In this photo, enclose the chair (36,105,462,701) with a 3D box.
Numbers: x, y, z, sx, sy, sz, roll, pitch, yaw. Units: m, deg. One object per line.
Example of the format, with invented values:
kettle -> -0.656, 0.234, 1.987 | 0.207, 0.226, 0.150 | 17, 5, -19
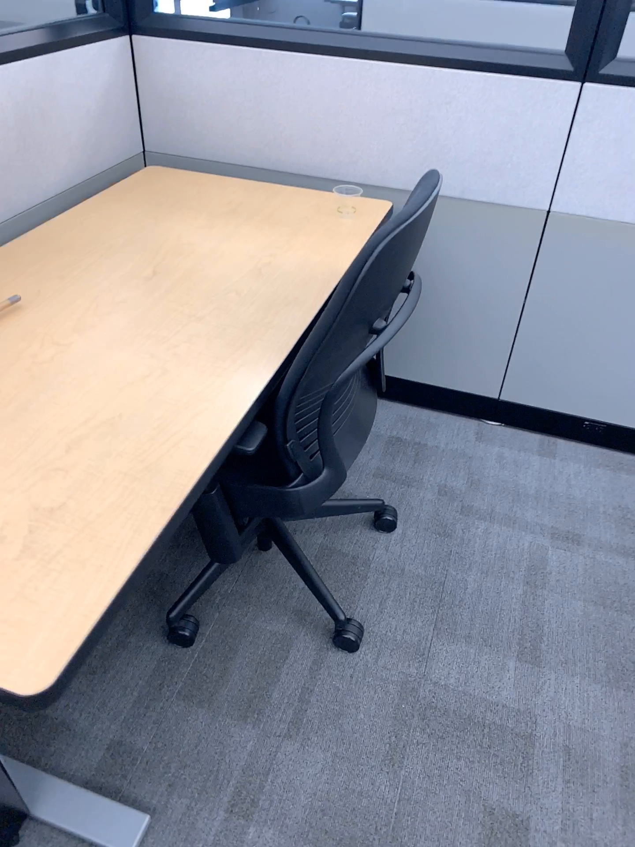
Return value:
chair -> -0.066, -0.042, 1.388 | 0.510, 0.994, 0.674 | 11, 39, 10
